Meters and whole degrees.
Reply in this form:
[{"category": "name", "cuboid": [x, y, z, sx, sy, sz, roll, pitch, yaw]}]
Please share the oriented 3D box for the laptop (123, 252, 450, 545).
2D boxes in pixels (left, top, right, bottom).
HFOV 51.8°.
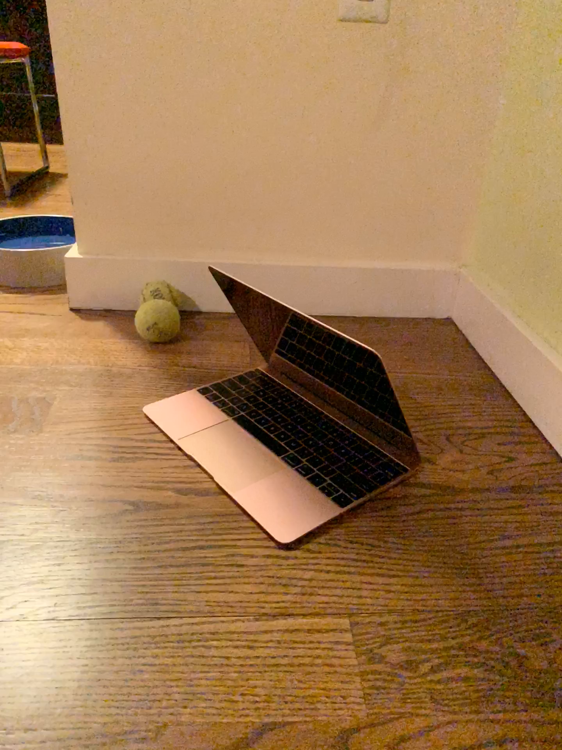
[{"category": "laptop", "cuboid": [-0.008, -0.002, 0.647, 0.206, 0.168, 0.289, -19, 36, -35]}]
